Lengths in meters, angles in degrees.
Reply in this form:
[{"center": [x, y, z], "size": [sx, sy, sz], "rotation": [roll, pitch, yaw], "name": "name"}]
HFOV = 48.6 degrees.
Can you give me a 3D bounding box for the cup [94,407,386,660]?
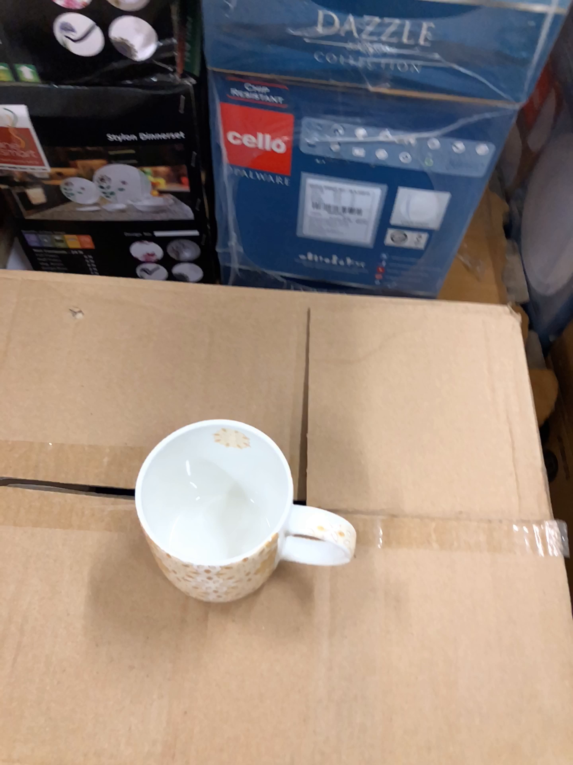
[{"center": [-0.021, 0.082, 0.335], "size": [0.120, 0.090, 0.080], "rotation": [13, 58, 3], "name": "cup"}]
